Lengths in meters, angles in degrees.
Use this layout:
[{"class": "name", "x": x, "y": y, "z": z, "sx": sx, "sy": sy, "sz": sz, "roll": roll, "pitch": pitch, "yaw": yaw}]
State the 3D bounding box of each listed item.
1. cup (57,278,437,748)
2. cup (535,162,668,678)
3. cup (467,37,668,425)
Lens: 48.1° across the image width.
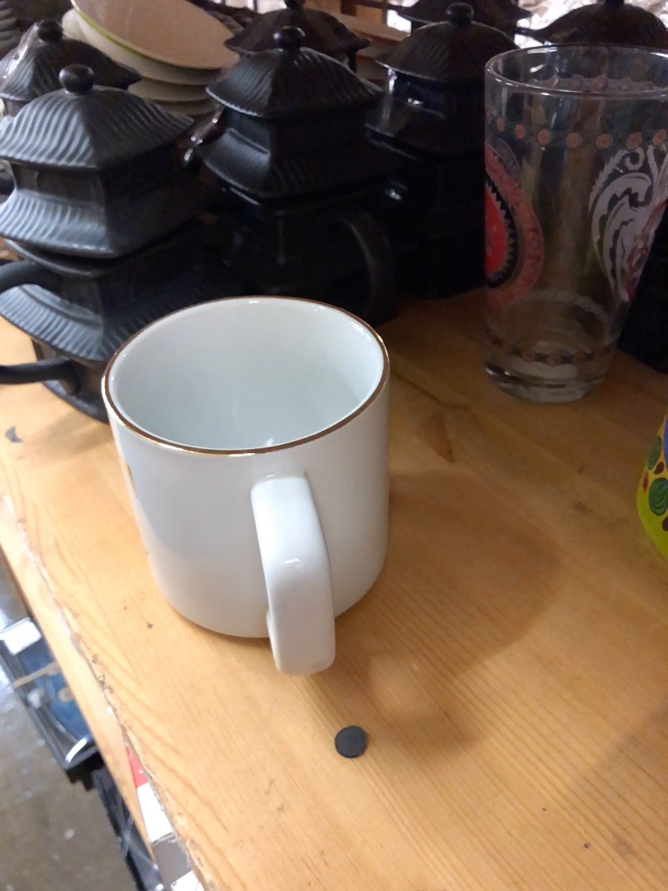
[{"class": "cup", "x": -0.026, "y": 0.014, "z": 0.248, "sx": 0.088, "sy": 0.084, "sz": 0.123, "roll": -6, "pitch": 38, "yaw": -5}, {"class": "cup", "x": 0.128, "y": -0.012, "z": 0.225, "sx": 0.078, "sy": 0.104, "sz": 0.093, "roll": -18, "pitch": 41, "yaw": -19}, {"class": "cup", "x": 0.104, "y": -0.092, "z": 0.324, "sx": 0.078, "sy": 0.134, "sz": 0.093, "roll": 2, "pitch": 39, "yaw": 6}]
